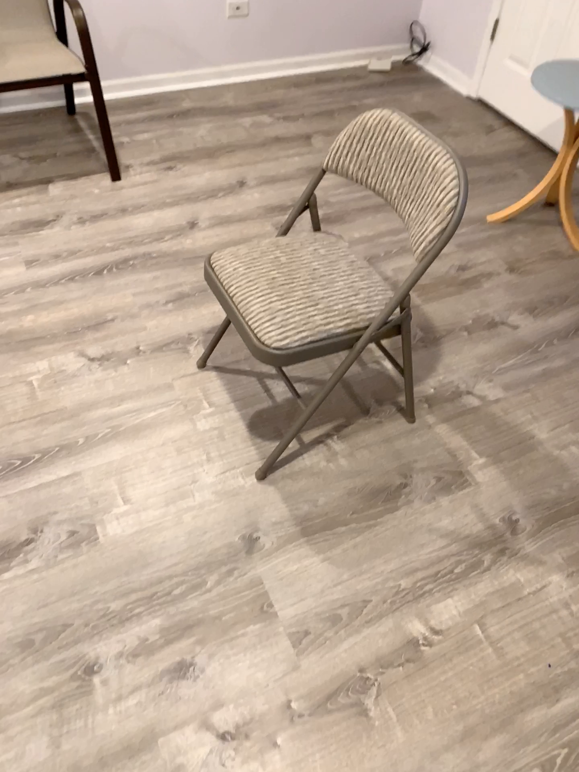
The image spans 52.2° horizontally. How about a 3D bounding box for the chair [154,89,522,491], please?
[{"bbox_3d":[0.069,-0.235,1.468,0.585,0.708,0.504,-19,51,-19],"label":"chair"}]
